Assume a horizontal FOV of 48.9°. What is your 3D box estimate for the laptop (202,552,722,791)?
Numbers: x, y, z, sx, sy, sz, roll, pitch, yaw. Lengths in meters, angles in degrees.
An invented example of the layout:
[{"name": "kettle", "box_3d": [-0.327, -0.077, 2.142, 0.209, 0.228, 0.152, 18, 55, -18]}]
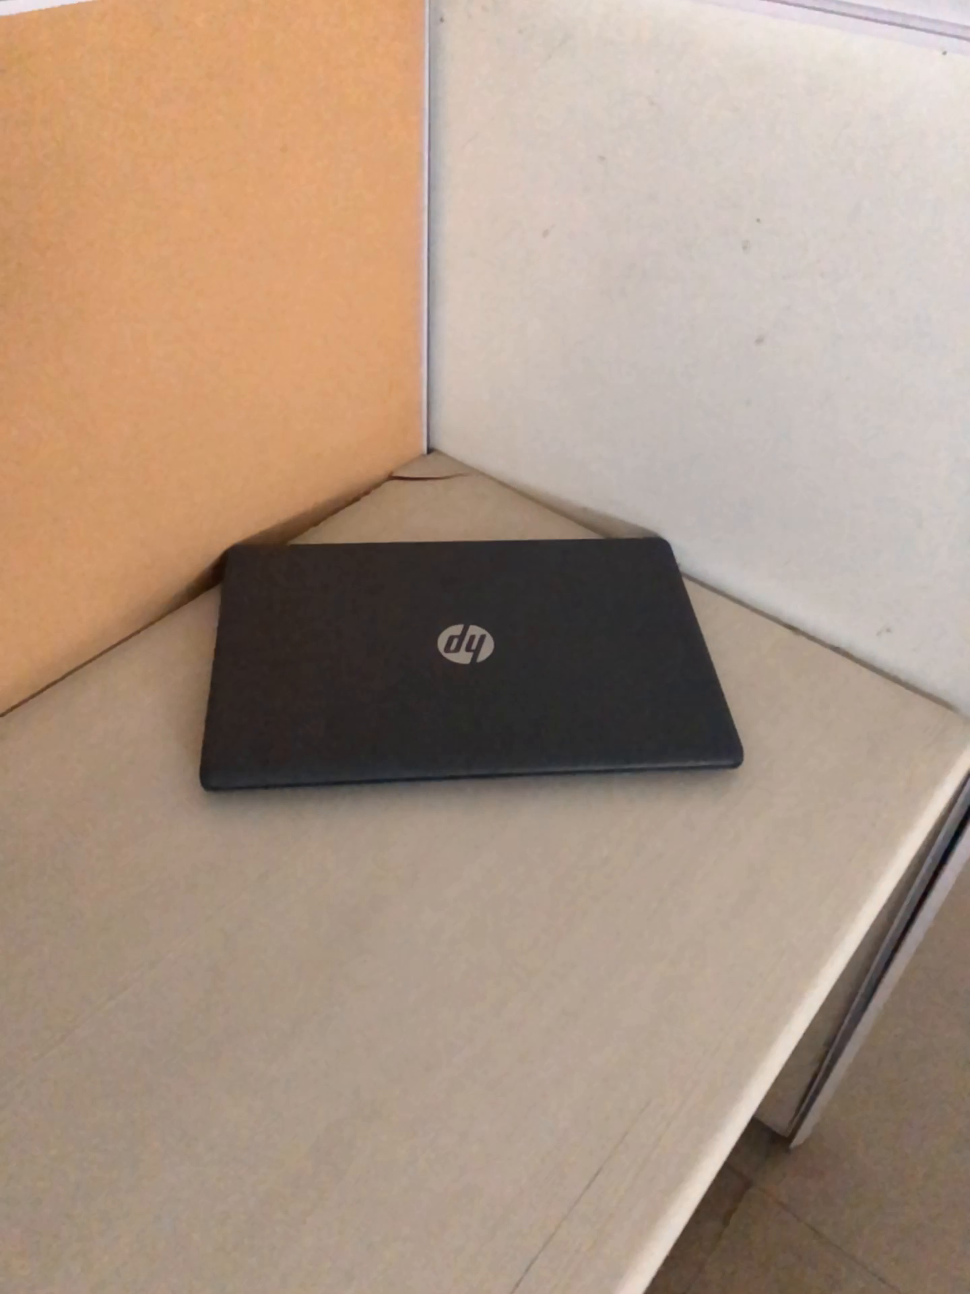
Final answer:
[{"name": "laptop", "box_3d": [-0.021, 0.007, 0.816, 0.356, 0.004, 0.237, -2, 43, -5]}]
